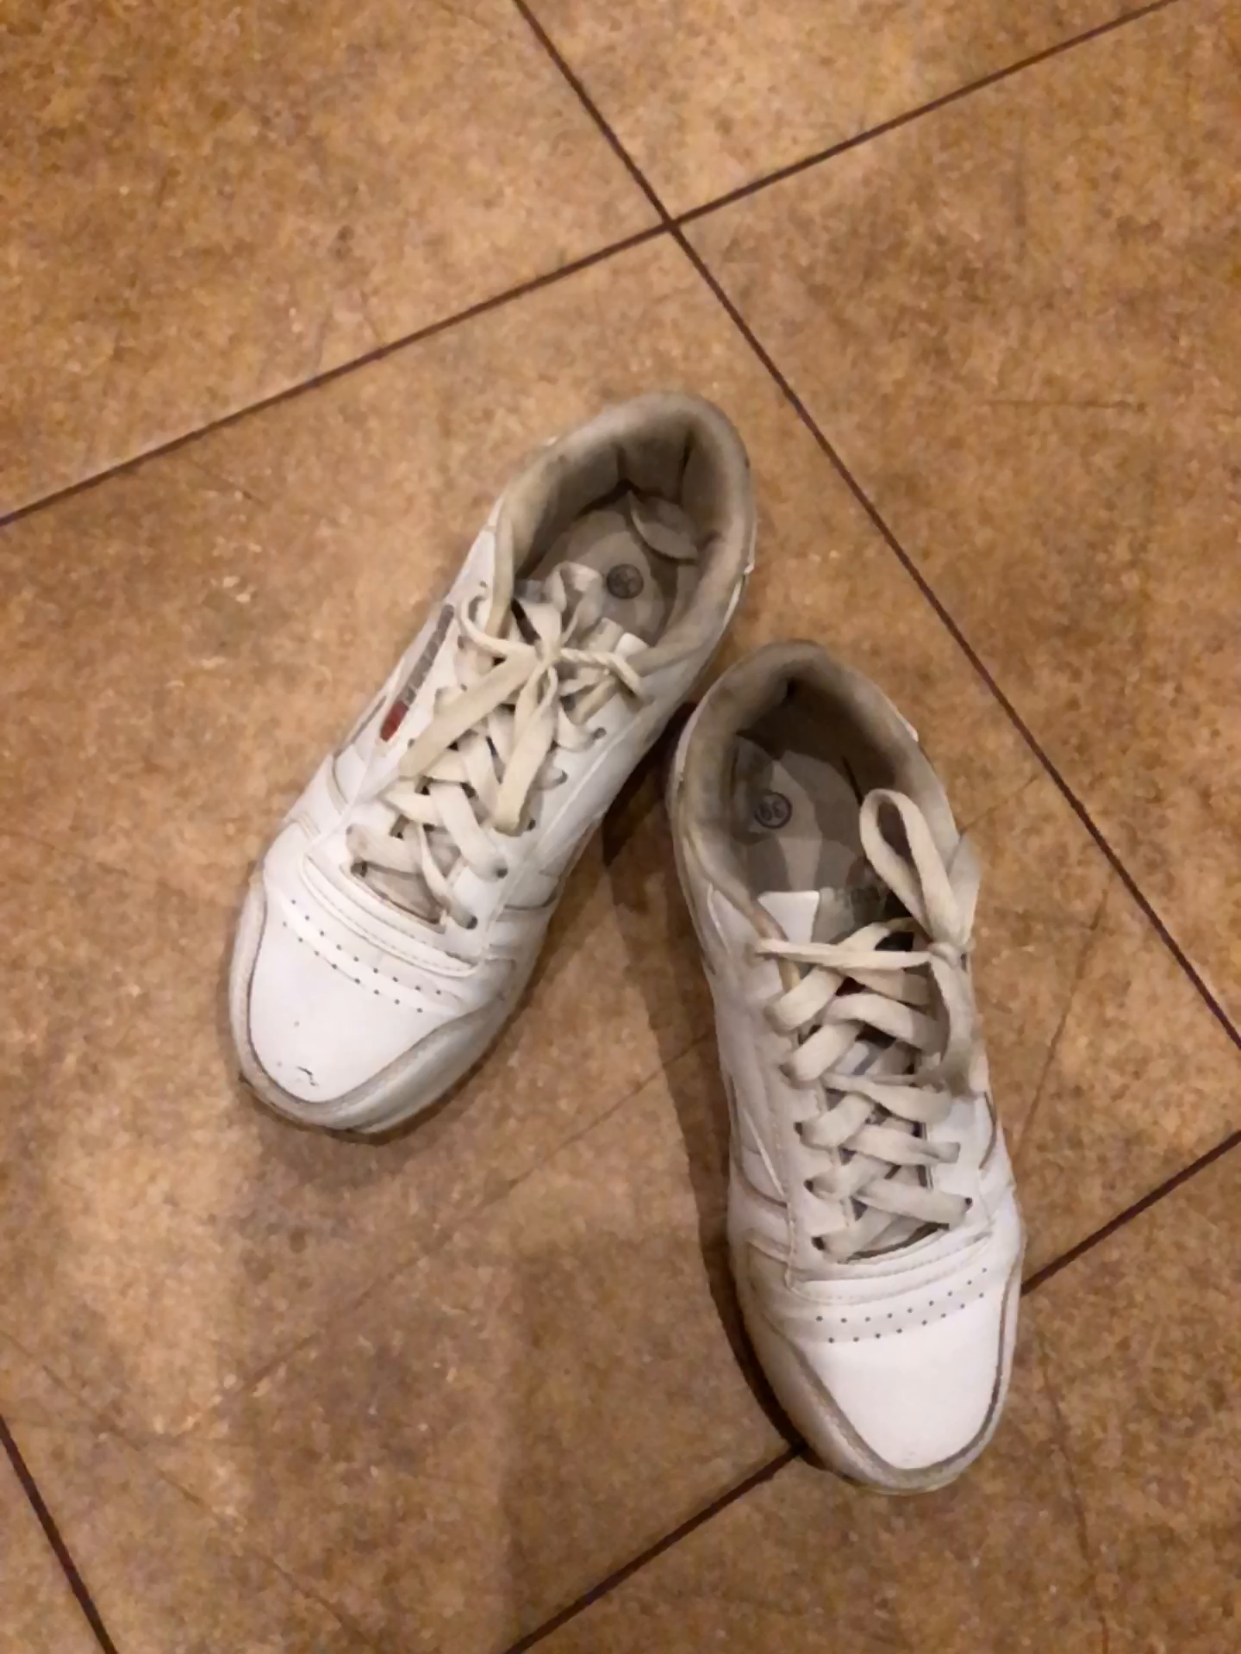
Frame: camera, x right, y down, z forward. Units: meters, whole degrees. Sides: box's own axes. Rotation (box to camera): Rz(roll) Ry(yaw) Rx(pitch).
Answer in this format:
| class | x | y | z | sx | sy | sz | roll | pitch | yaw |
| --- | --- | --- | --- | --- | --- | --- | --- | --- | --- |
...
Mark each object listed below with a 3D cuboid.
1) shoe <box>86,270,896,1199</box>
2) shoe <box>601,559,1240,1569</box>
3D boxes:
| class | x | y | z | sx | sy | sz | roll | pitch | yaw |
| --- | --- | --- | --- | --- | --- | --- | --- | --- | --- |
| shoe | -0.031 | -0.027 | 0.430 | 0.100 | 0.100 | 0.260 | 31 | 73 | 3 |
| shoe | 0.078 | 0.062 | 0.414 | 0.110 | 0.100 | 0.250 | -10 | 75 | -9 |
